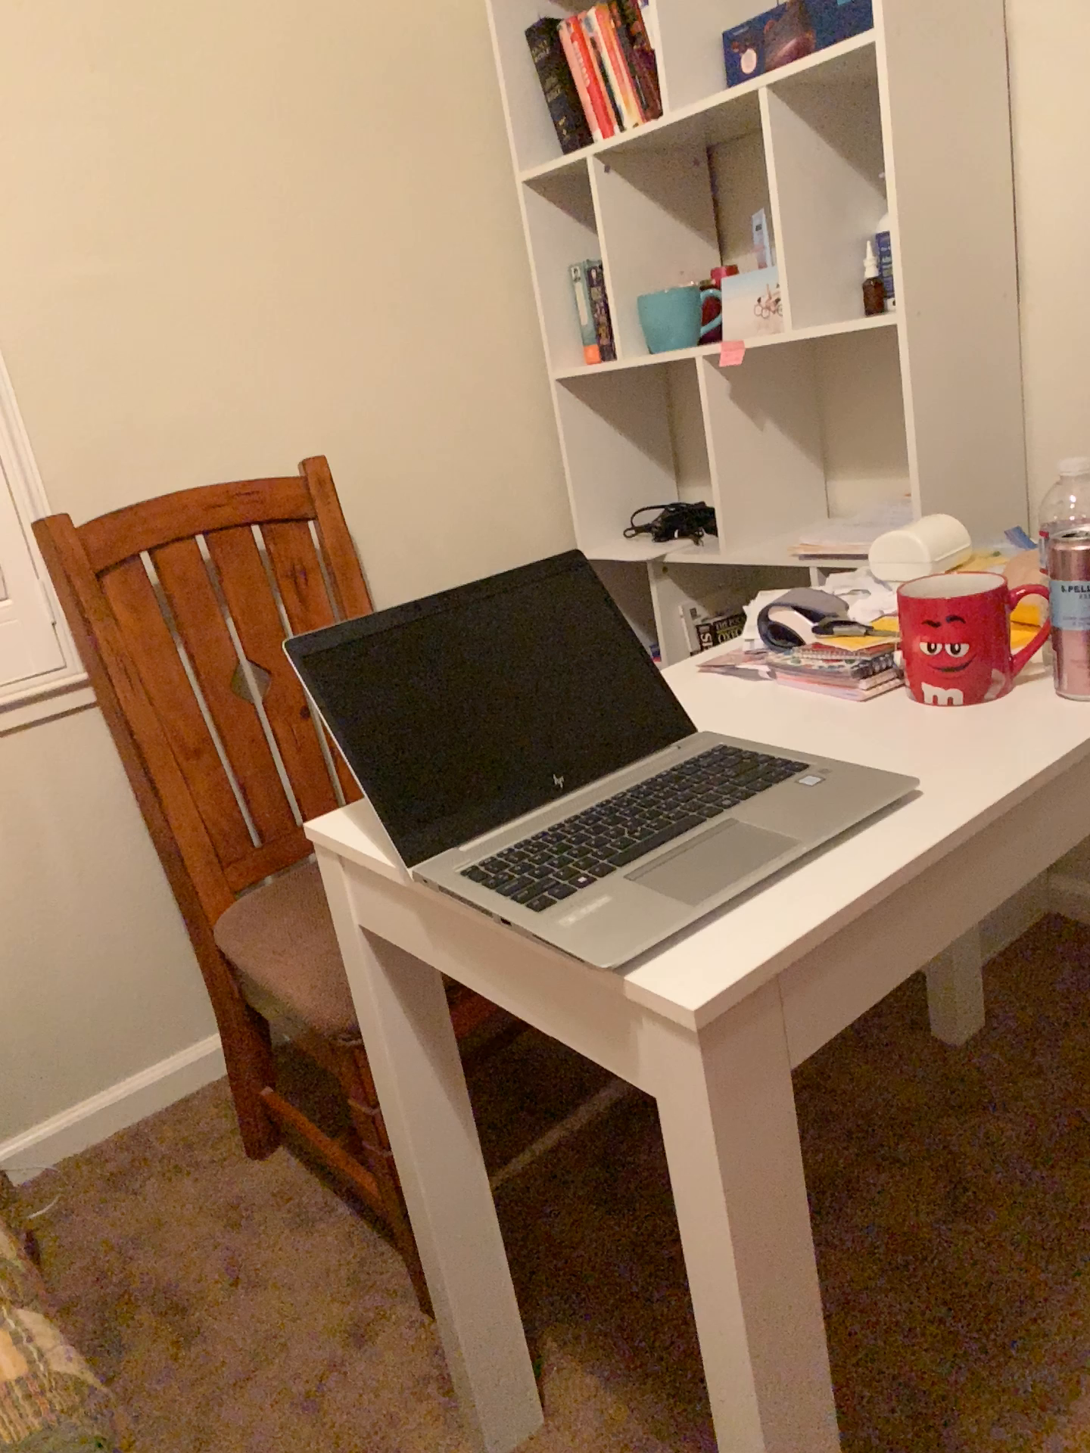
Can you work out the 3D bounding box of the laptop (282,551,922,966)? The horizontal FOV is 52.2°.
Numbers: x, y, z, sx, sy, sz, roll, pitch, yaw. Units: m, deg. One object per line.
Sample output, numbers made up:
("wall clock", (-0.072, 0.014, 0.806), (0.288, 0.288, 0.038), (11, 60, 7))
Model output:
("laptop", (0.033, -0.014, 0.850), (0.311, 0.159, 0.365), (-22, 21, -33))
